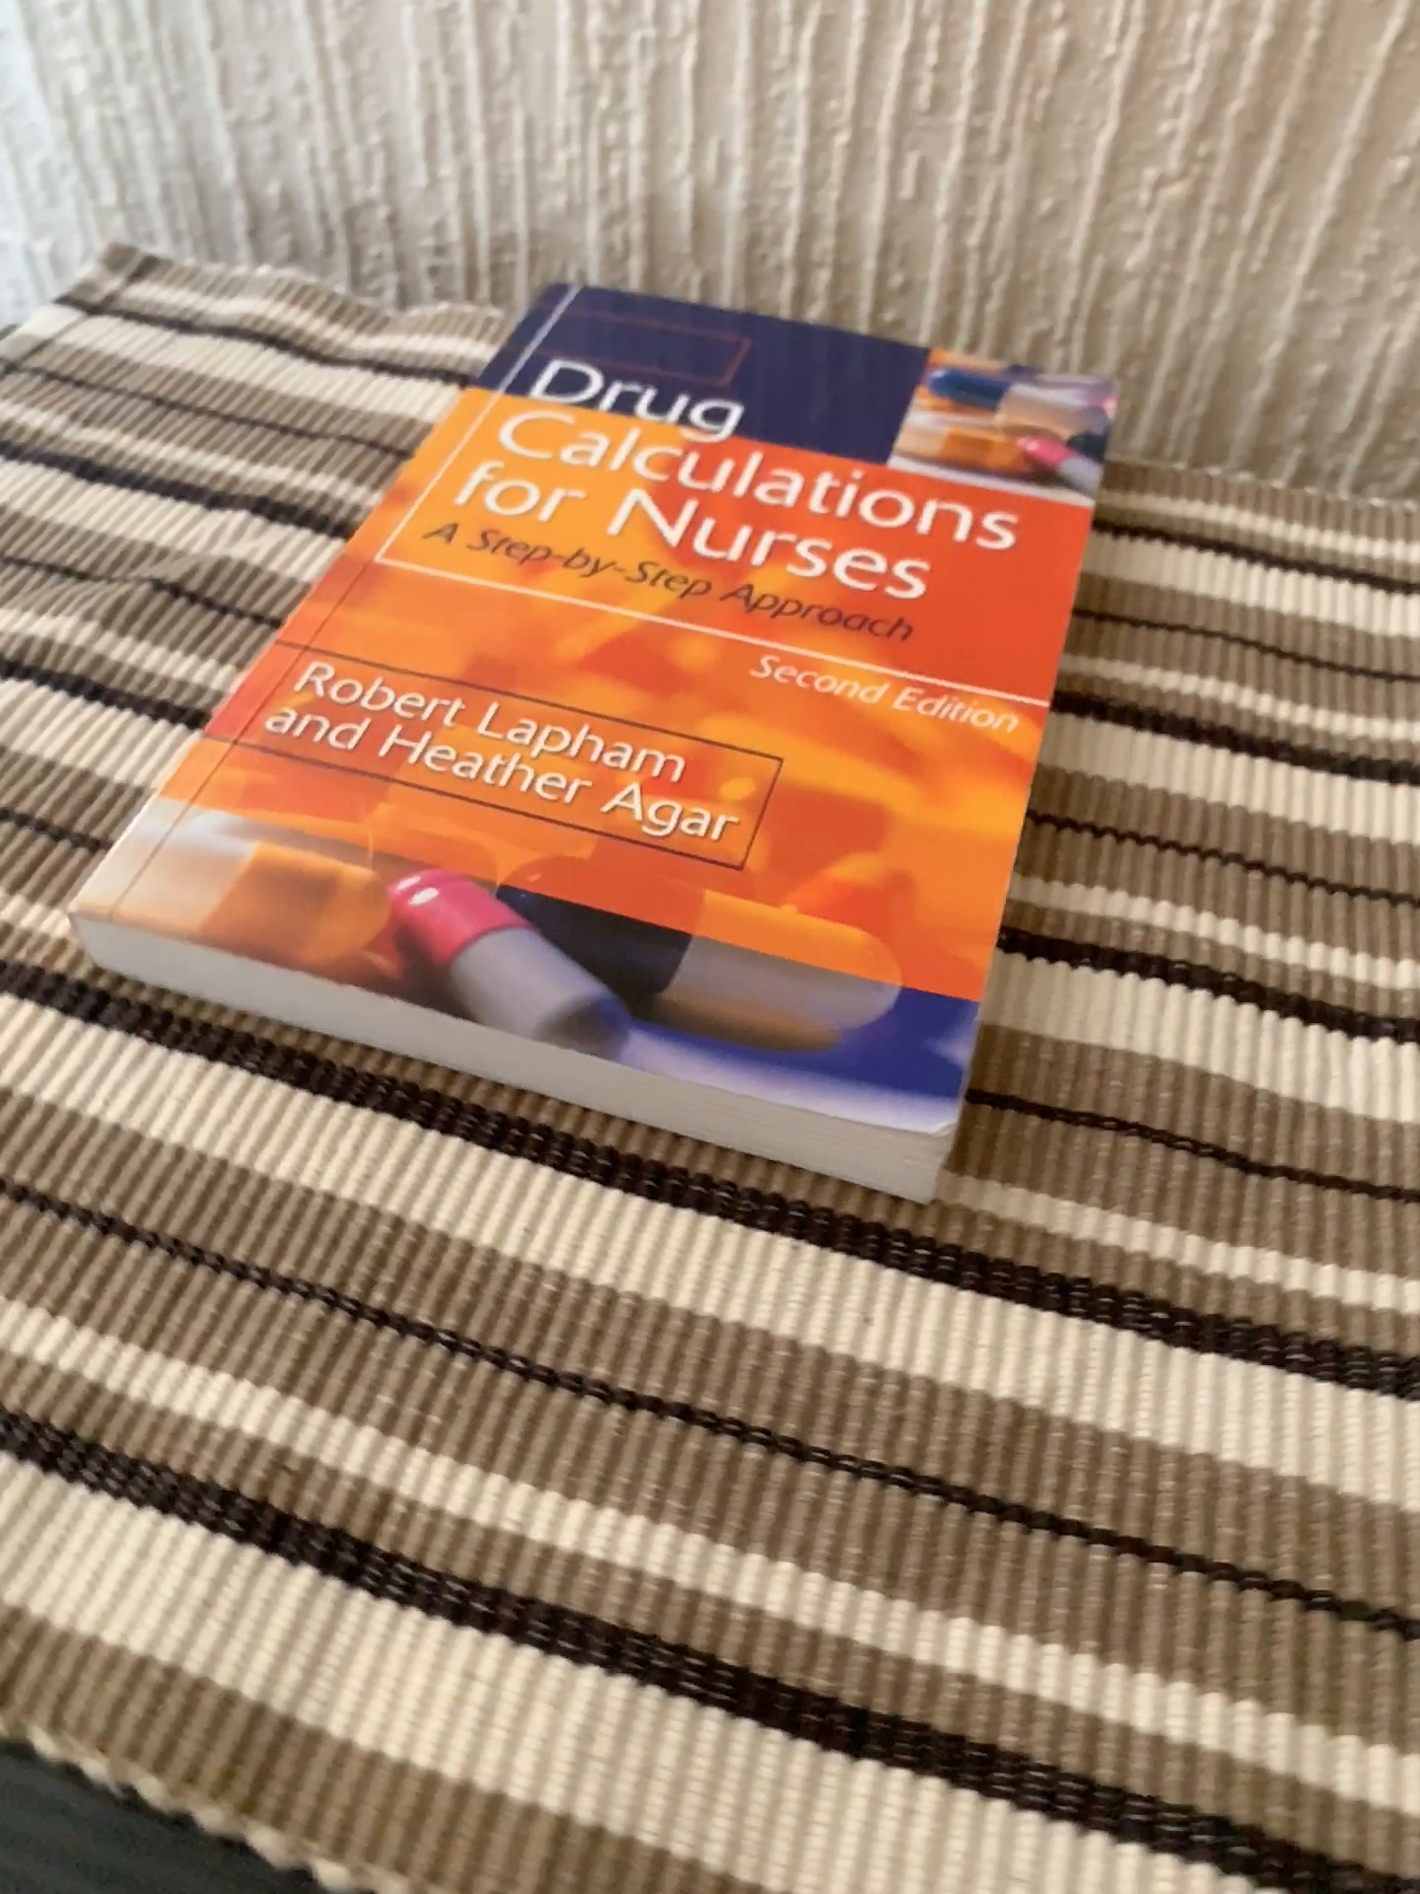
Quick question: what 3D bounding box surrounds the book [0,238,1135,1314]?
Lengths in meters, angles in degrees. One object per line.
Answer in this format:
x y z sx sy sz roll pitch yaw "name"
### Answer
-0.007 -0.057 0.266 0.140 0.020 0.222 14 51 8 "book"
